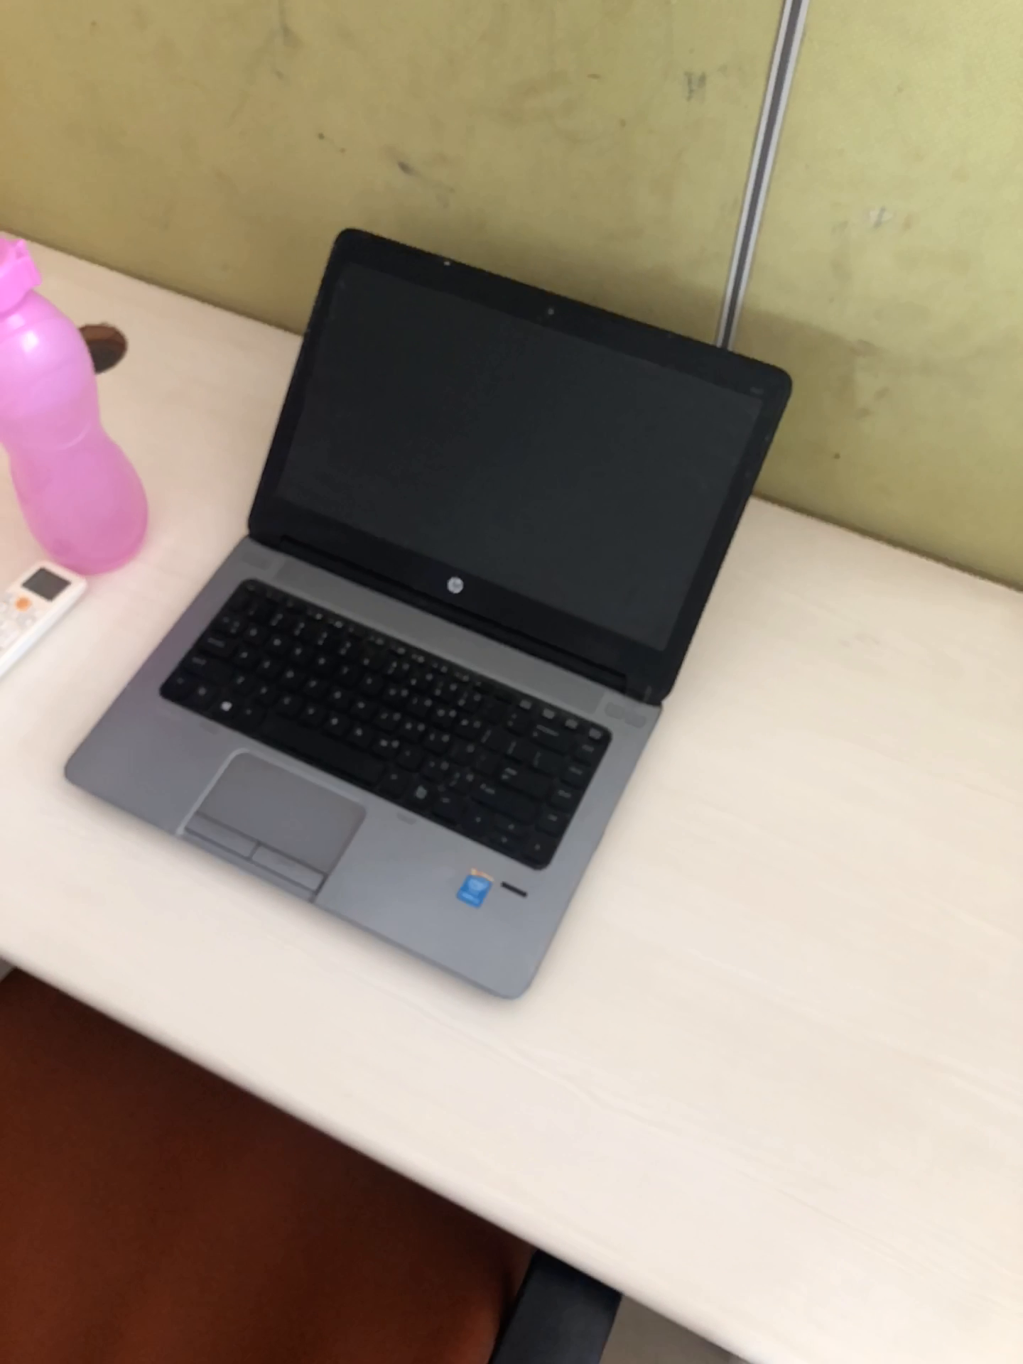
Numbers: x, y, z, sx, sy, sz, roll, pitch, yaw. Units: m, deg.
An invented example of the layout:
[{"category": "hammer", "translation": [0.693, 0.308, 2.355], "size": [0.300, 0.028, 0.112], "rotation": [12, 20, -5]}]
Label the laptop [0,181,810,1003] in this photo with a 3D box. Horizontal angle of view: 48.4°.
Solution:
[{"category": "laptop", "translation": [-0.054, -0.079, 0.712], "size": [0.326, 0.148, 0.407], "rotation": [23, 64, 14]}]
